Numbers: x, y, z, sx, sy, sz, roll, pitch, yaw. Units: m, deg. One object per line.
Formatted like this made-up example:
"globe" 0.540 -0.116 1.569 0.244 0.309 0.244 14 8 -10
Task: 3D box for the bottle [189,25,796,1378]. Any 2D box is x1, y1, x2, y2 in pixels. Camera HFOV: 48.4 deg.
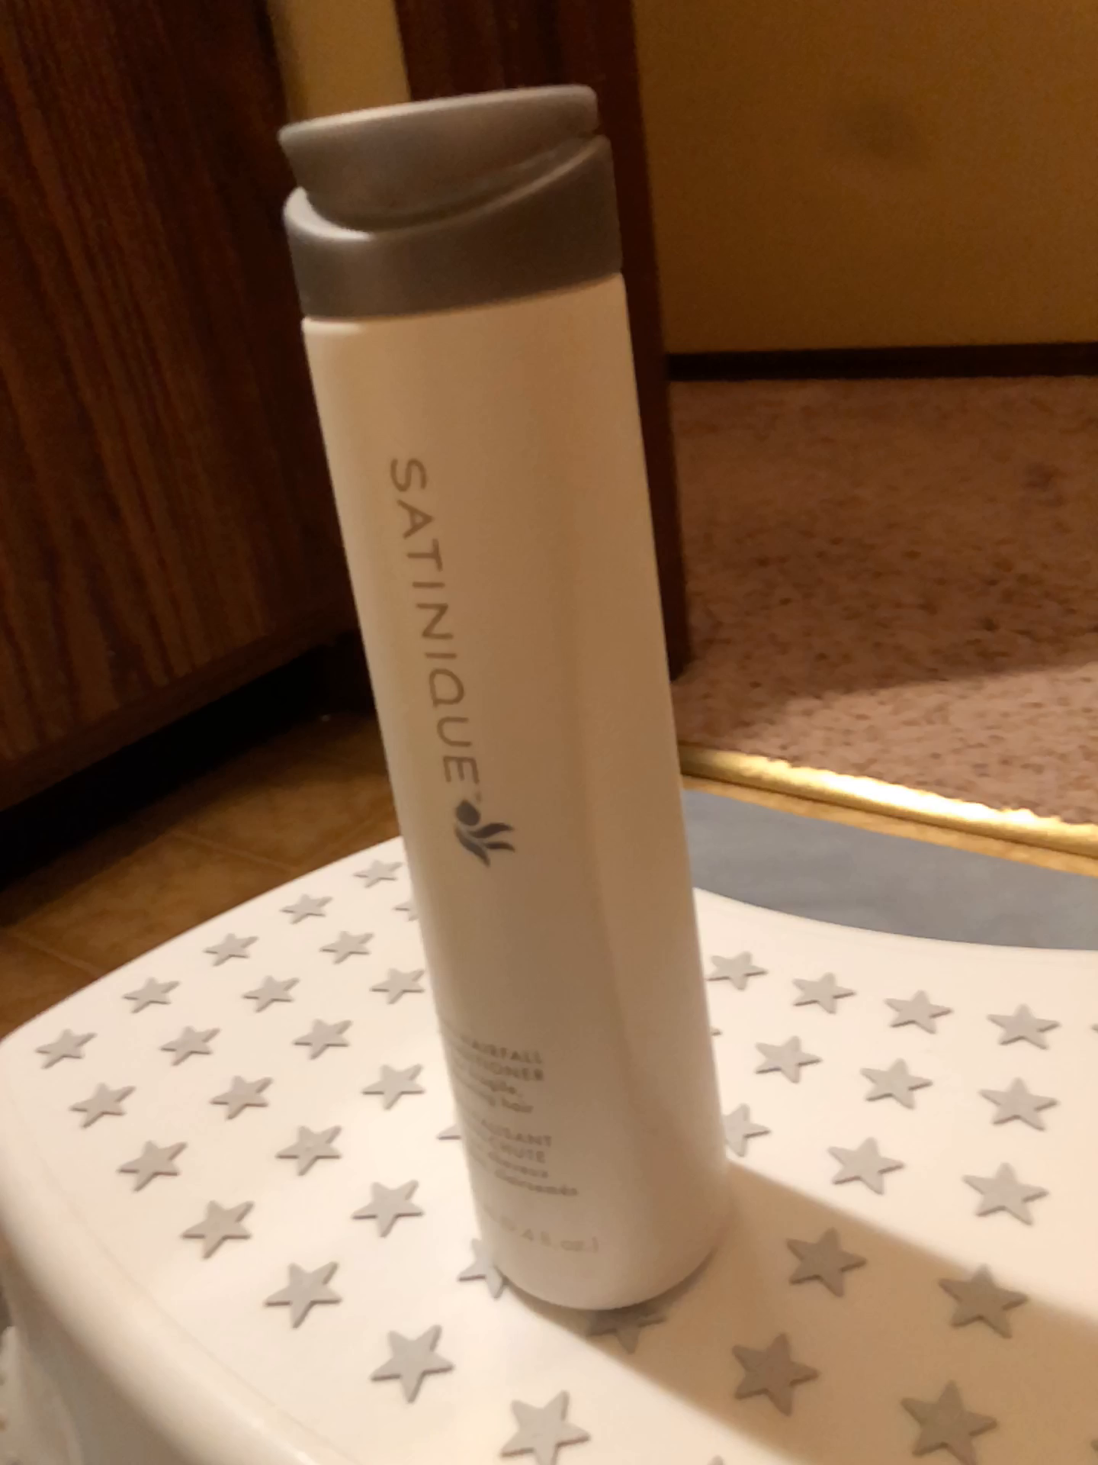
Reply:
"bottle" 0.001 0.005 0.207 0.050 0.209 0.050 -7 24 3
